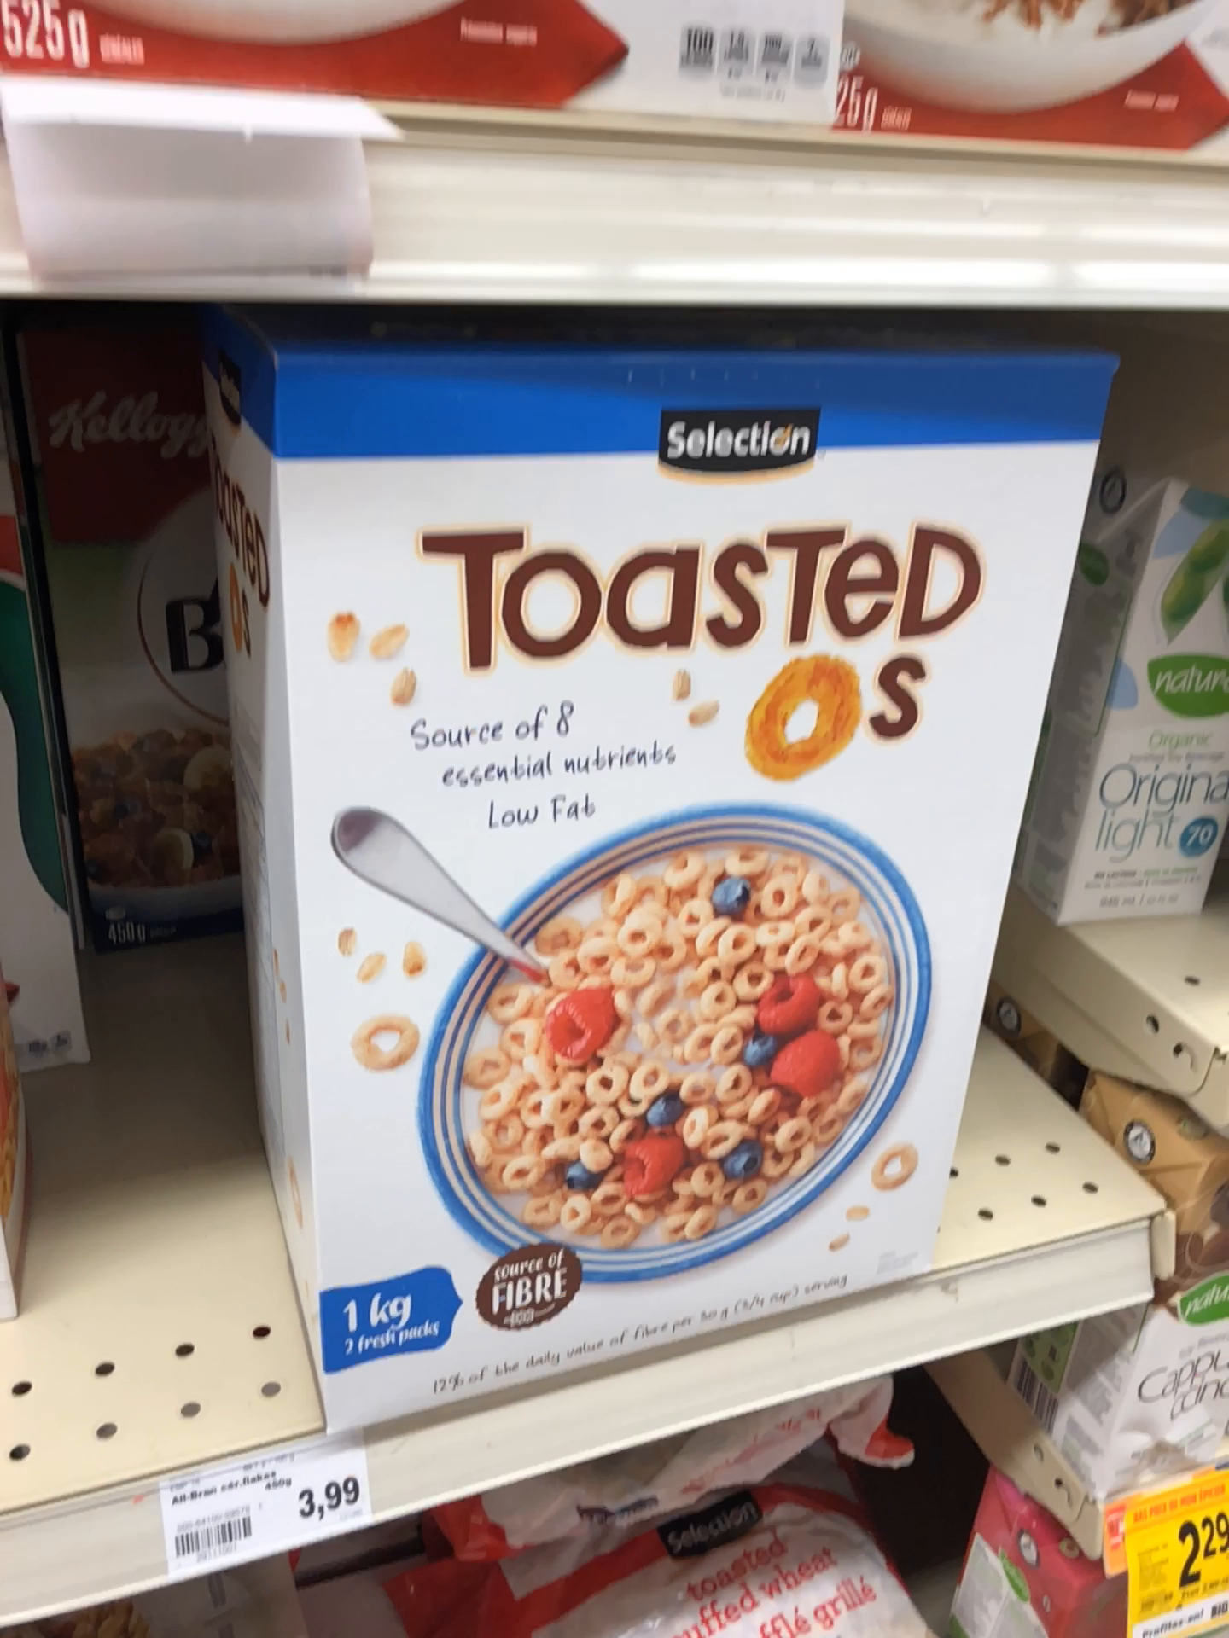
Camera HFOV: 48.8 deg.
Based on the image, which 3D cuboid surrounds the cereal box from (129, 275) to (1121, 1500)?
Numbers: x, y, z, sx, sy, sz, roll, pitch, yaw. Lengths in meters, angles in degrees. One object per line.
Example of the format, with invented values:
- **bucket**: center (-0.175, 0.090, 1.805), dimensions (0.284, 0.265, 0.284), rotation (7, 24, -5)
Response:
- **cereal box**: center (-0.013, 0.007, 0.455), dimensions (0.240, 0.338, 0.161), rotation (-7, 26, -21)
